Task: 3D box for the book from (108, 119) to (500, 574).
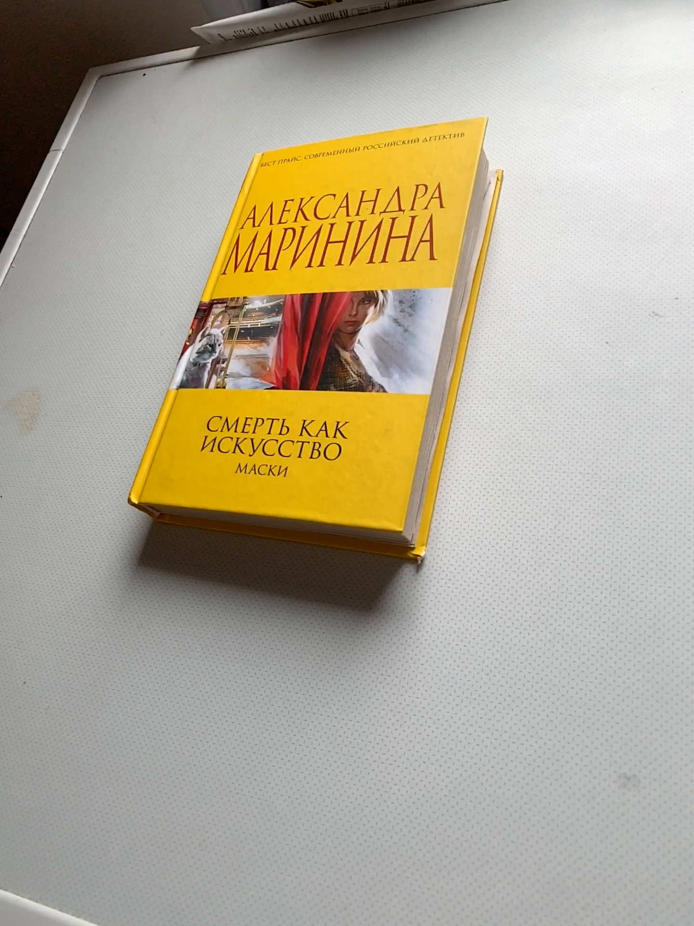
[{"bbox_3d":[-0.012,-0.056,0.302,0.120,0.030,0.189,4,67,25],"label":"book"}]
